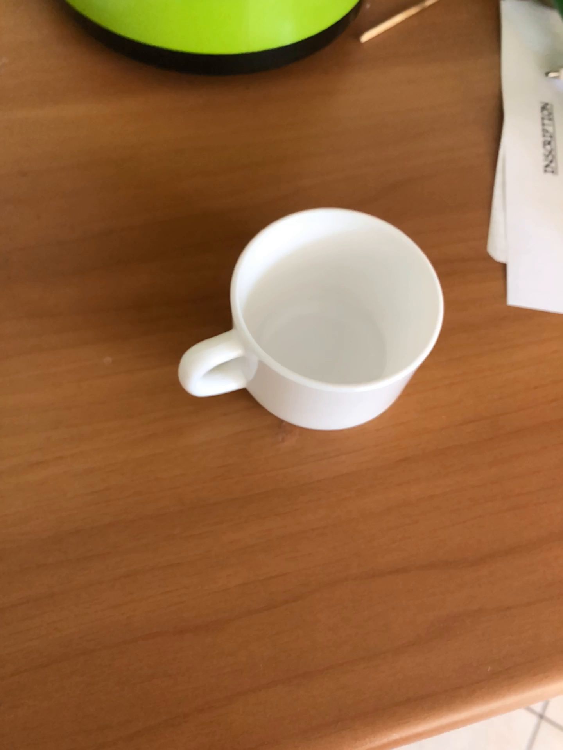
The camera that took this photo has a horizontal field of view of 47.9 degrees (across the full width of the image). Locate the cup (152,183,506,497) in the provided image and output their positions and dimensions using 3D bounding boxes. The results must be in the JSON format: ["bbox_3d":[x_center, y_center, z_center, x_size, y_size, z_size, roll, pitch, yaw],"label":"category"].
[{"bbox_3d":[0.014,-0.014,0.243,0.100,0.050,0.080,-19,69,-13],"label":"cup"}]
